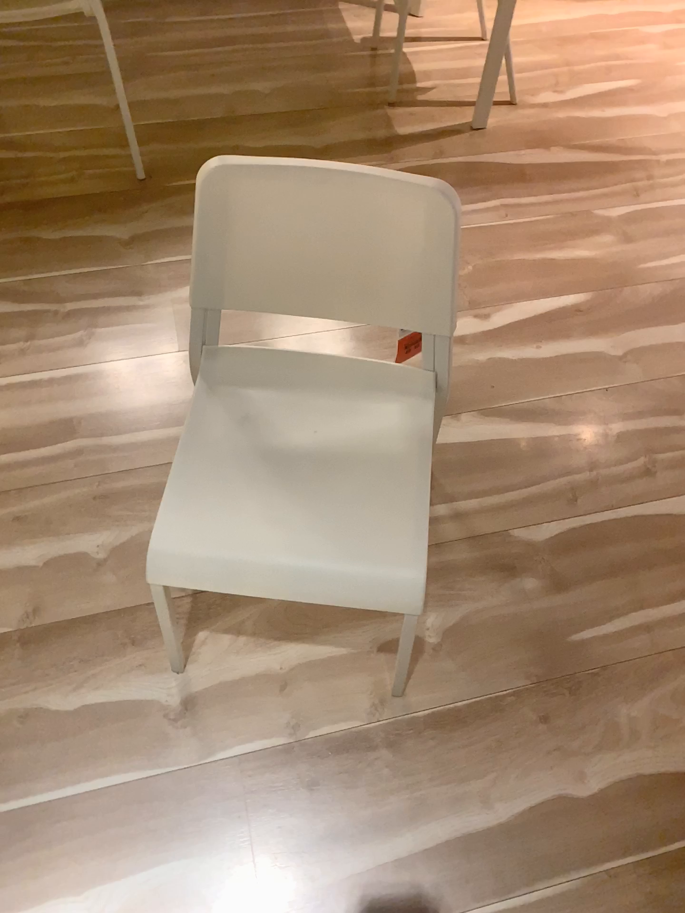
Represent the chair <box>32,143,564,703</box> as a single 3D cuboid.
[{"bbox_3d":[-0.037,0.007,1.124,0.520,0.709,0.551,6,58,0],"label":"chair"}]
